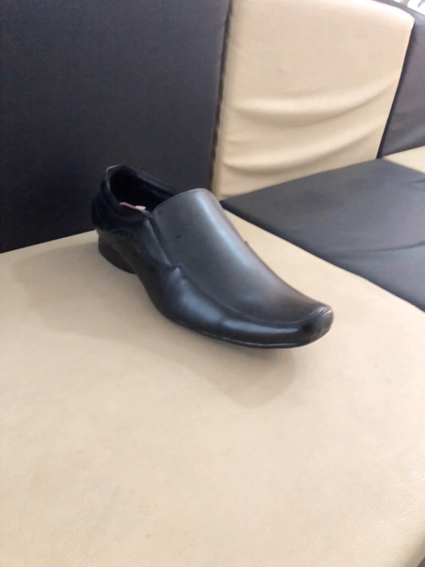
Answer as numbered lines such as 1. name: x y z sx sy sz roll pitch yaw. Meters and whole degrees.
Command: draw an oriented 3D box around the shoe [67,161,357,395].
1. shoe: -0.020 -0.026 0.449 0.280 0.090 0.090 31 39 34
